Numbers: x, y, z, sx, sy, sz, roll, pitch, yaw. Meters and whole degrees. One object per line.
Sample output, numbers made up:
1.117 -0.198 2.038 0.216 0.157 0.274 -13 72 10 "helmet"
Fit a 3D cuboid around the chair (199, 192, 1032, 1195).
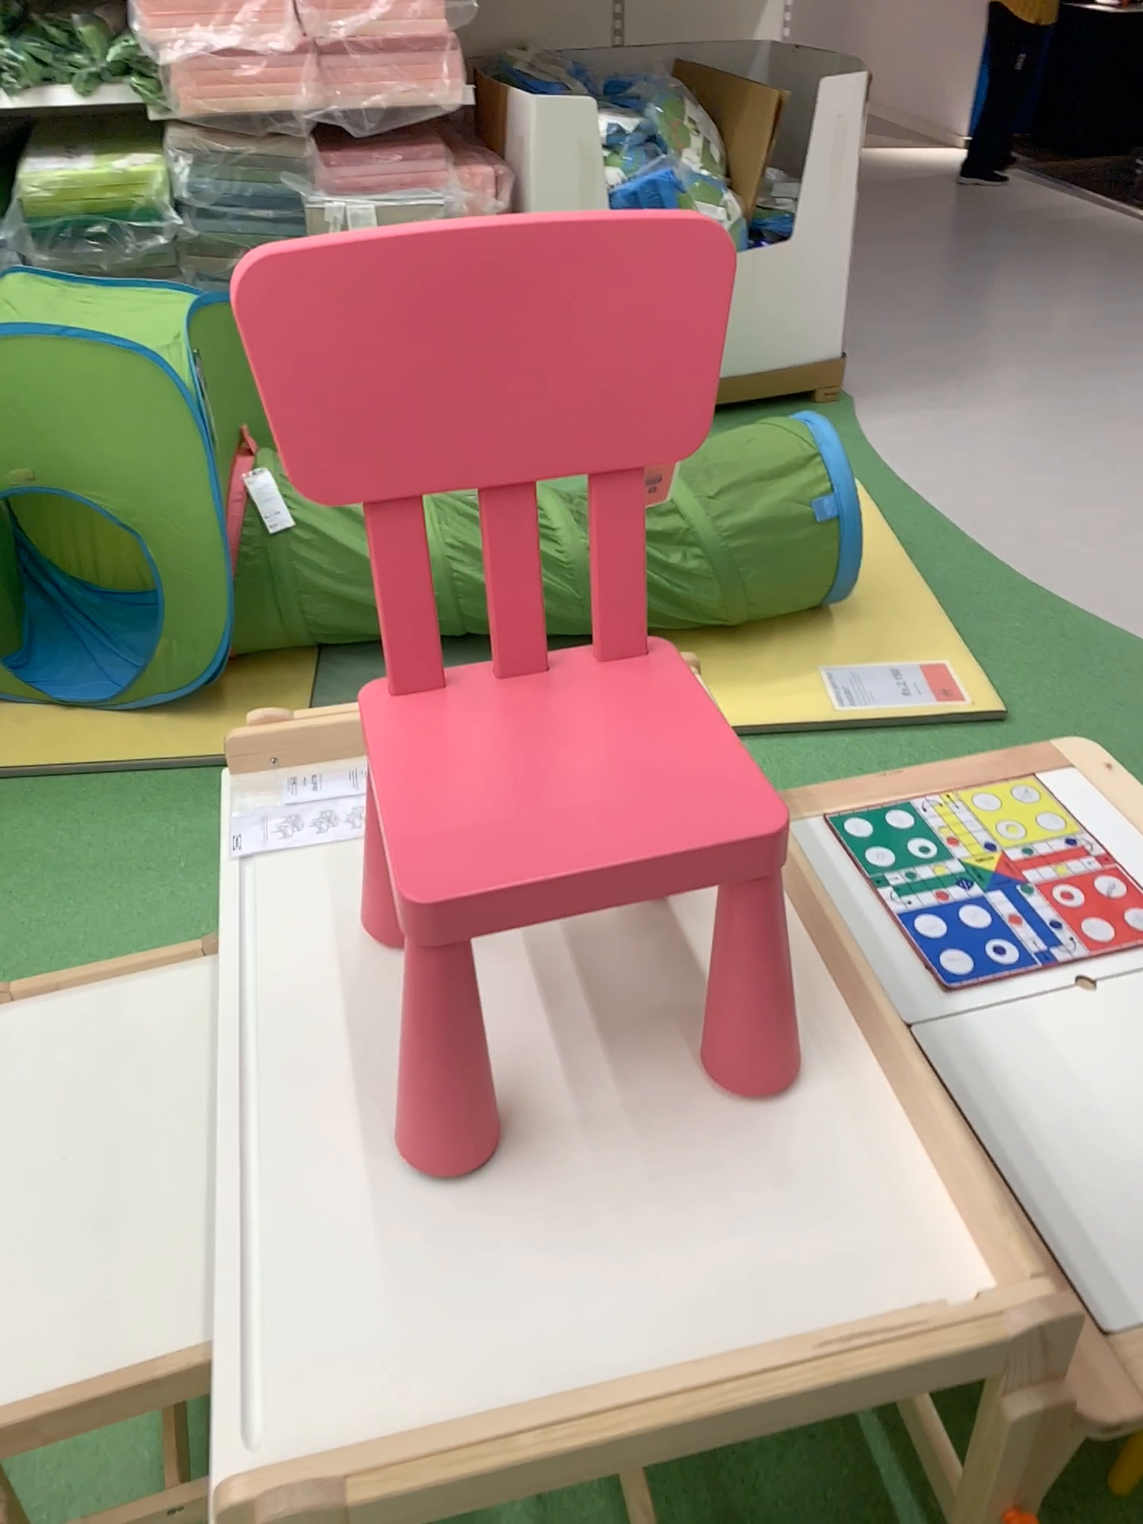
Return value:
-0.011 -0.059 0.899 0.420 0.597 0.402 -9 38 -11 "chair"
